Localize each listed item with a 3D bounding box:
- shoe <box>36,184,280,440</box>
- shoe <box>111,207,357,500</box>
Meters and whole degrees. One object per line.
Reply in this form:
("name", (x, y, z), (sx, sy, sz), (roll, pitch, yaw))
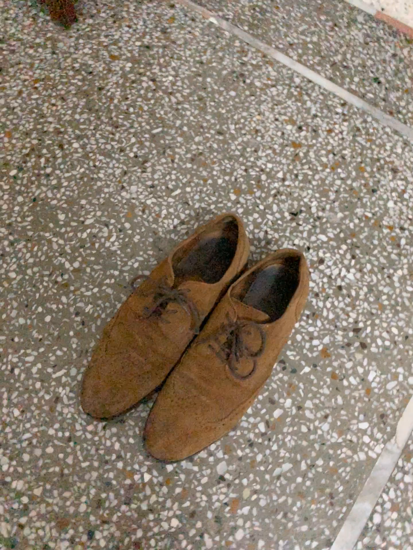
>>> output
("shoe", (-0.047, 0.044, 0.536), (0.100, 0.110, 0.309), (37, 71, 12))
("shoe", (0.038, 0.082, 0.494), (0.100, 0.110, 0.309), (35, 70, 11))
